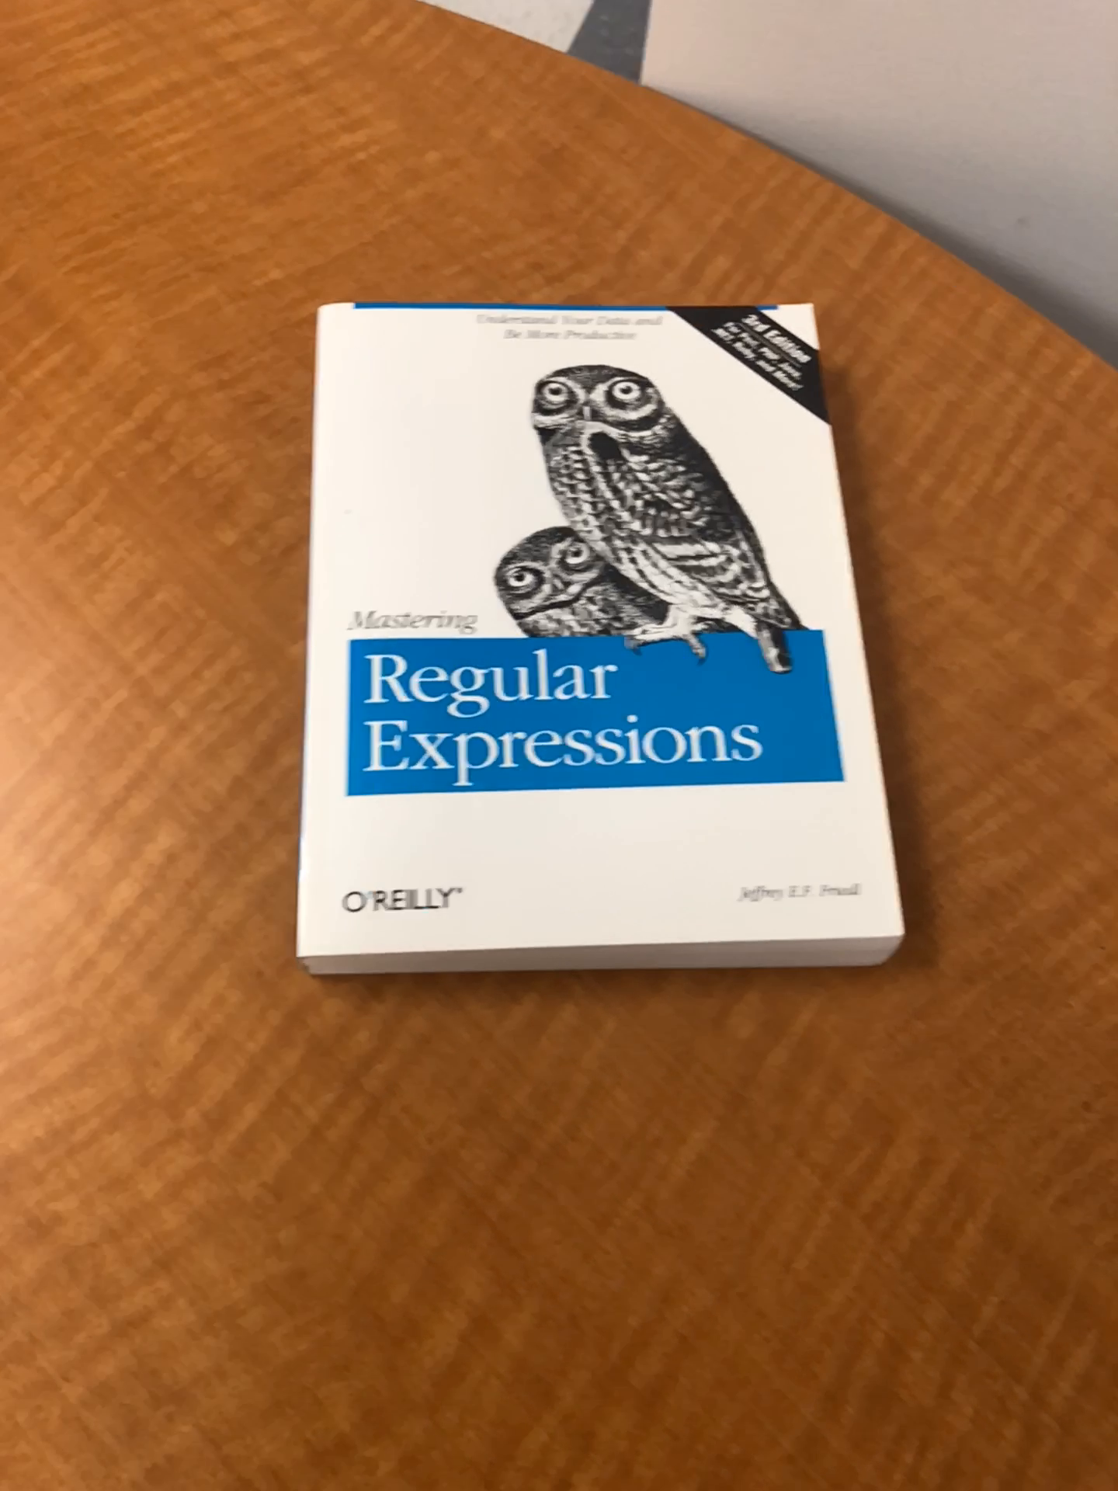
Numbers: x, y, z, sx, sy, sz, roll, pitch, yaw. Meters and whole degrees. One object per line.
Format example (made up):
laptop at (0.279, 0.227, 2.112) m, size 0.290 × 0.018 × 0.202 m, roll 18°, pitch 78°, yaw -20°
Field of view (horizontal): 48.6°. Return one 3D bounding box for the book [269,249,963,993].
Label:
book at (0.013, -0.052, 0.423) m, size 0.200 × 0.040 × 0.261 m, roll 0°, pitch 68°, yaw -4°
